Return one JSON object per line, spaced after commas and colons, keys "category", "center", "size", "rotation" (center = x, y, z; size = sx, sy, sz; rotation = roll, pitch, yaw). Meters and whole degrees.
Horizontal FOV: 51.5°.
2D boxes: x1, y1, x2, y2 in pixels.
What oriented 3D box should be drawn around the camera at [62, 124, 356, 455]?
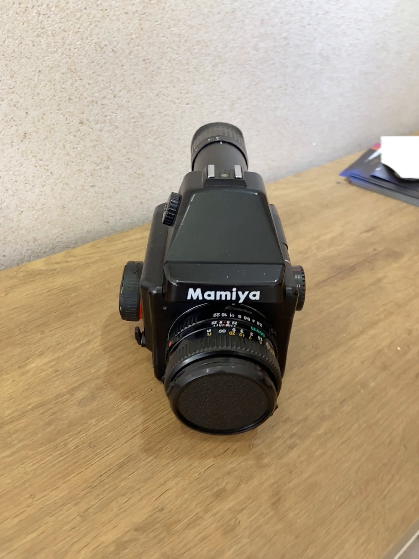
{"category": "camera", "center": [-0.005, -0.015, 0.298], "size": [0.120, 0.109, 0.221], "rotation": [-1, 37, -3]}
